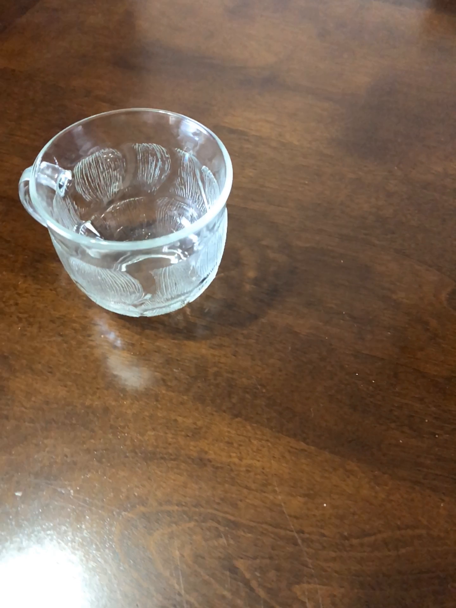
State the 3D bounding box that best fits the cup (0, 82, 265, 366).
[{"bbox_3d":[-0.047,-0.036,0.211,0.100,0.050,0.080,19,58,11],"label":"cup"}]
